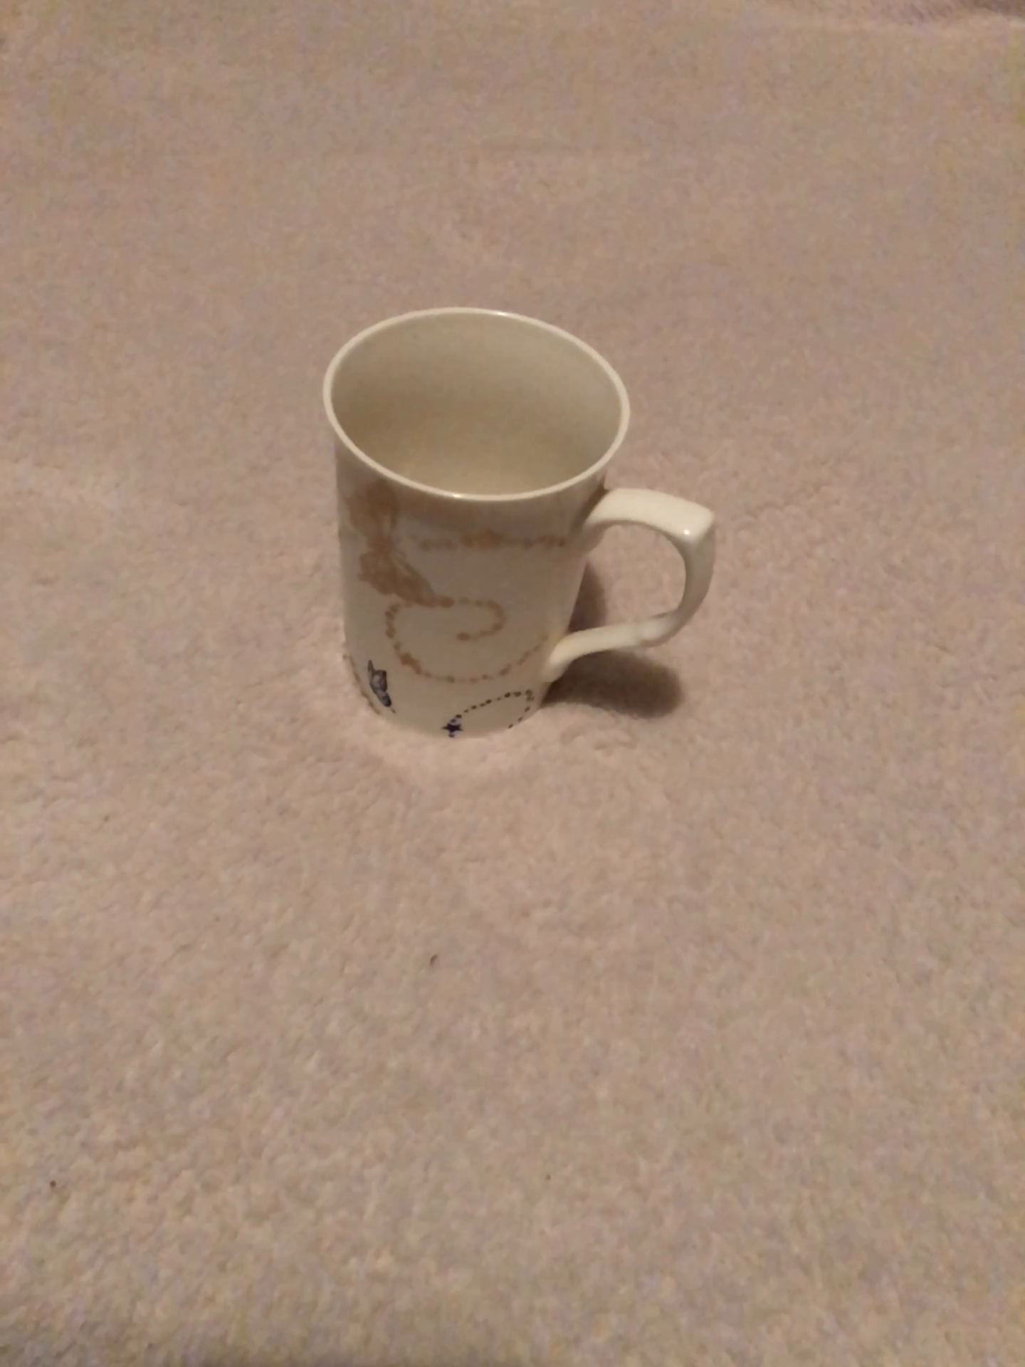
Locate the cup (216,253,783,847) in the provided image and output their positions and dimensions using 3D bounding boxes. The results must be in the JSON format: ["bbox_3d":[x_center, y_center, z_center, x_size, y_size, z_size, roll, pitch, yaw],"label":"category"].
[{"bbox_3d":[-0.003,-0.034,0.307,0.112,0.110,0.074,20,53,12],"label":"cup"}]
